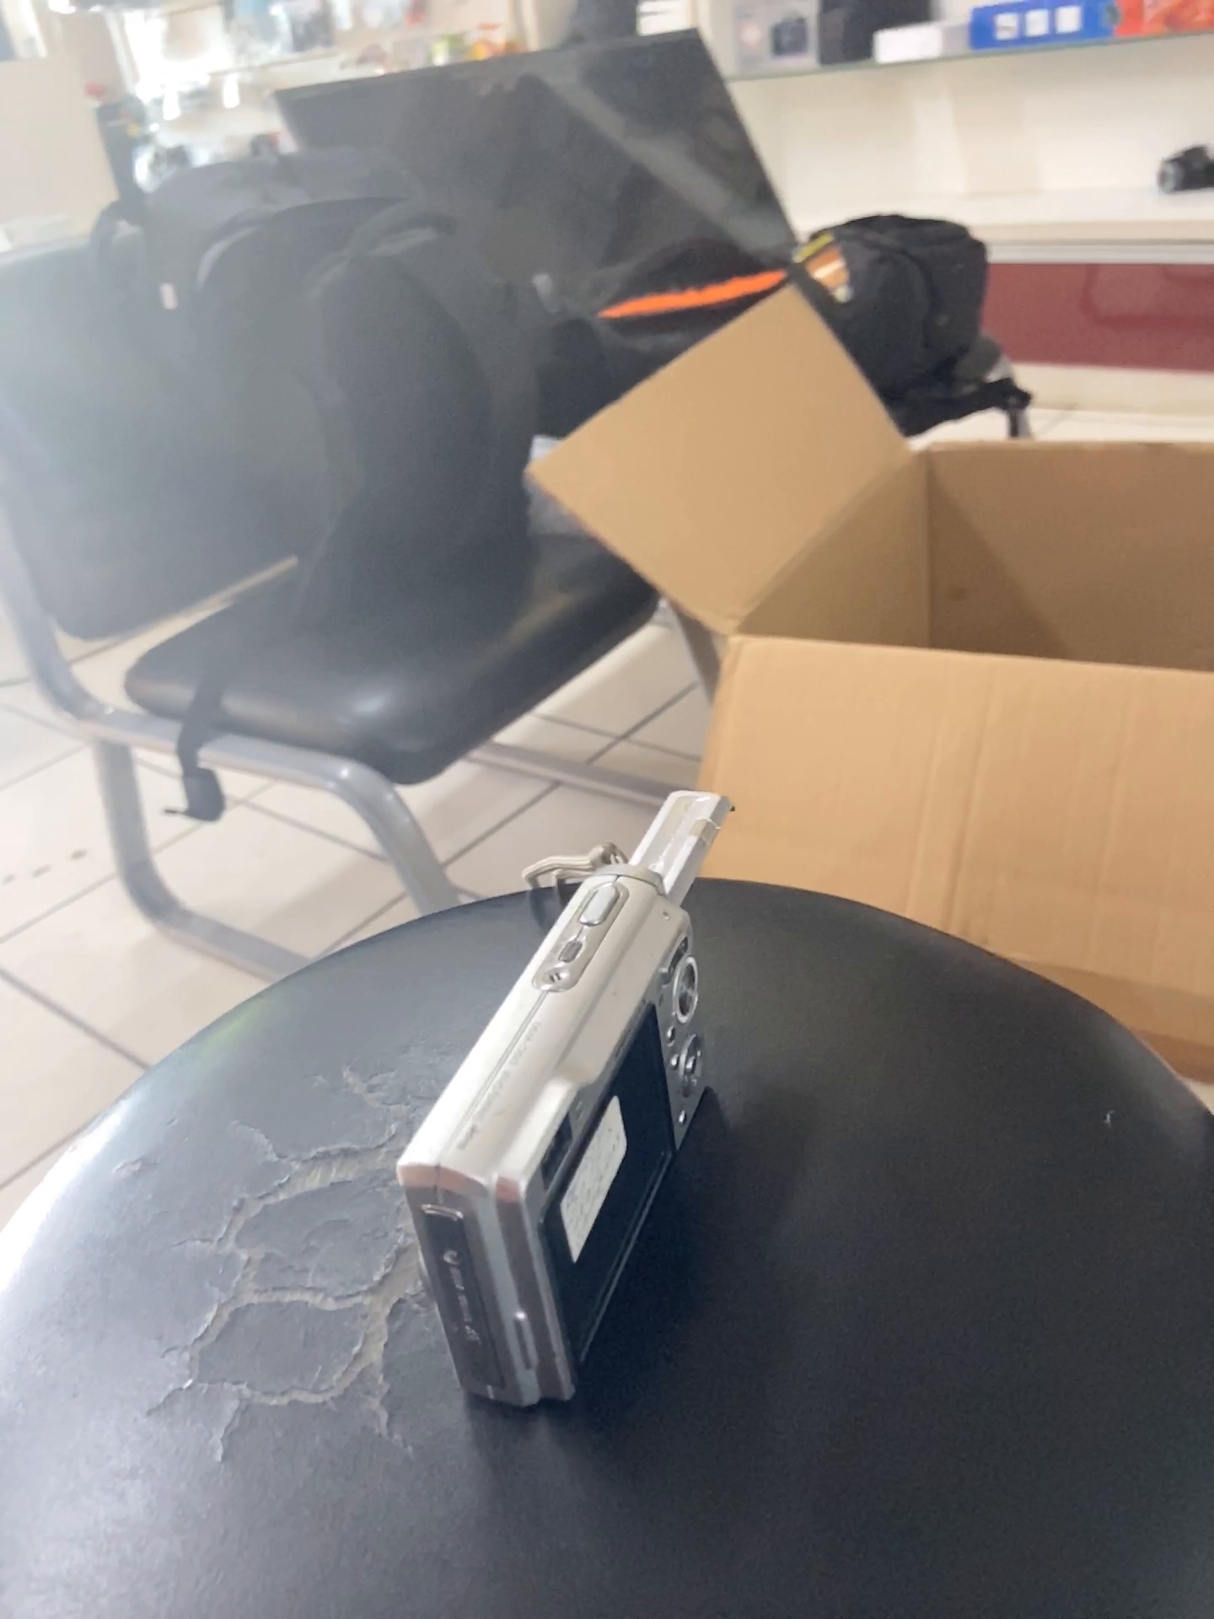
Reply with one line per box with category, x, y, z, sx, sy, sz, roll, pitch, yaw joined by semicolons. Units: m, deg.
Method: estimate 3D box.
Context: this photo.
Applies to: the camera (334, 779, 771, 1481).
camera;0.000;0.052;0.254;0.030;0.053;0.136;5;34;22
